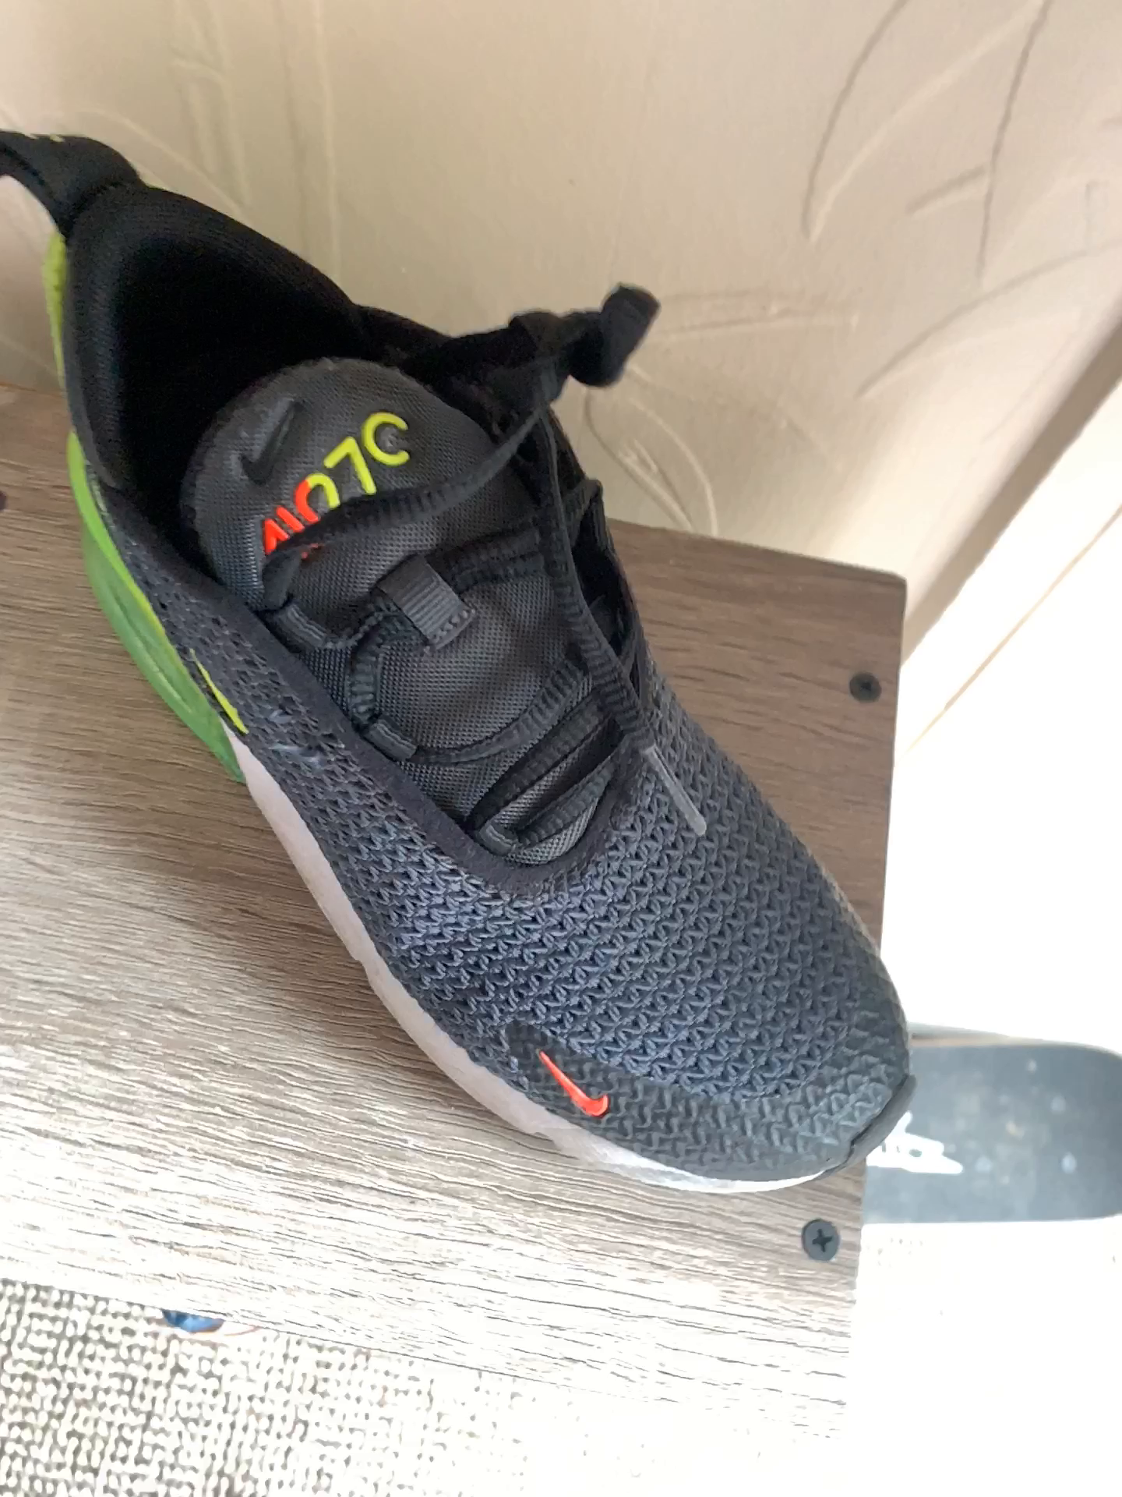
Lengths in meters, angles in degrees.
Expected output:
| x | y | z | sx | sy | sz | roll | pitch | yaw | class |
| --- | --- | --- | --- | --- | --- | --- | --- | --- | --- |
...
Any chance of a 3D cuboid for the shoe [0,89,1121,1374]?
| x | y | z | sx | sy | sz | roll | pitch | yaw | class |
| --- | --- | --- | --- | --- | --- | --- | --- | --- | --- |
| -0.014 | -0.005 | 0.251 | 0.090 | 0.109 | 0.247 | -41 | 76 | -21 | shoe |
